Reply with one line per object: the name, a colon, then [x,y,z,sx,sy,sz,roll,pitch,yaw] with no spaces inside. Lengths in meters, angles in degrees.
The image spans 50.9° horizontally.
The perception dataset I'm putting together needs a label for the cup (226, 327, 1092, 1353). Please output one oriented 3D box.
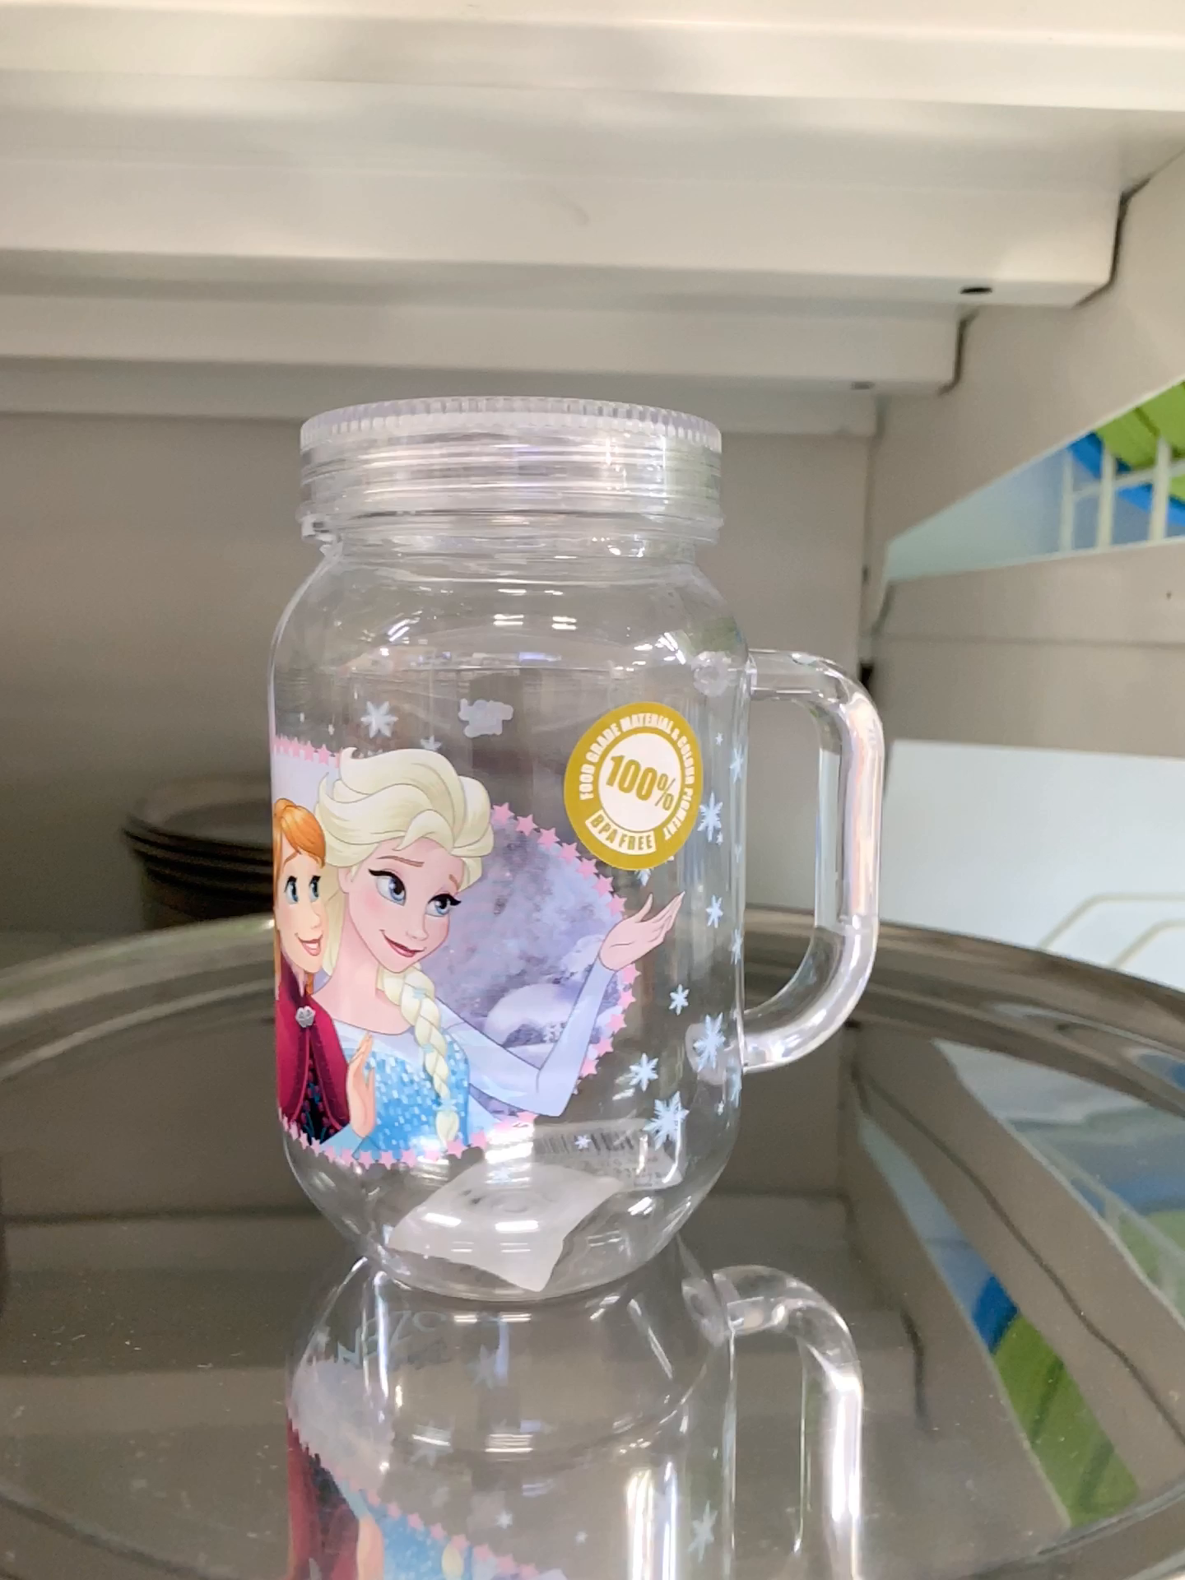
cup: [0.004,0.004,0.205,0.120,0.130,0.070,0,6,-15]
